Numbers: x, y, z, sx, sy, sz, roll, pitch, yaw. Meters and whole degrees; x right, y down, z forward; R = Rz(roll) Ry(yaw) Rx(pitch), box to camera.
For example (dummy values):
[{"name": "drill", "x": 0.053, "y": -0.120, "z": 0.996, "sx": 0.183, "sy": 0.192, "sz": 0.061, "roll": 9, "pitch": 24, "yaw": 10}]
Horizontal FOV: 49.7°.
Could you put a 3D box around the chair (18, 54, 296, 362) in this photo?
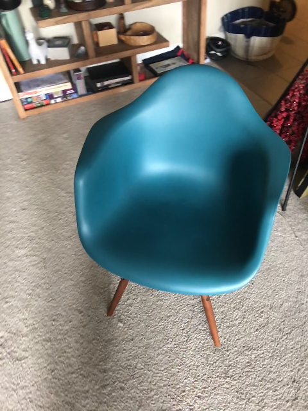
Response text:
[{"name": "chair", "x": 0.071, "y": 0.018, "z": 1.138, "sx": 0.580, "sy": 0.785, "sz": 0.564, "roll": 12, "pitch": 47, "yaw": 14}]
